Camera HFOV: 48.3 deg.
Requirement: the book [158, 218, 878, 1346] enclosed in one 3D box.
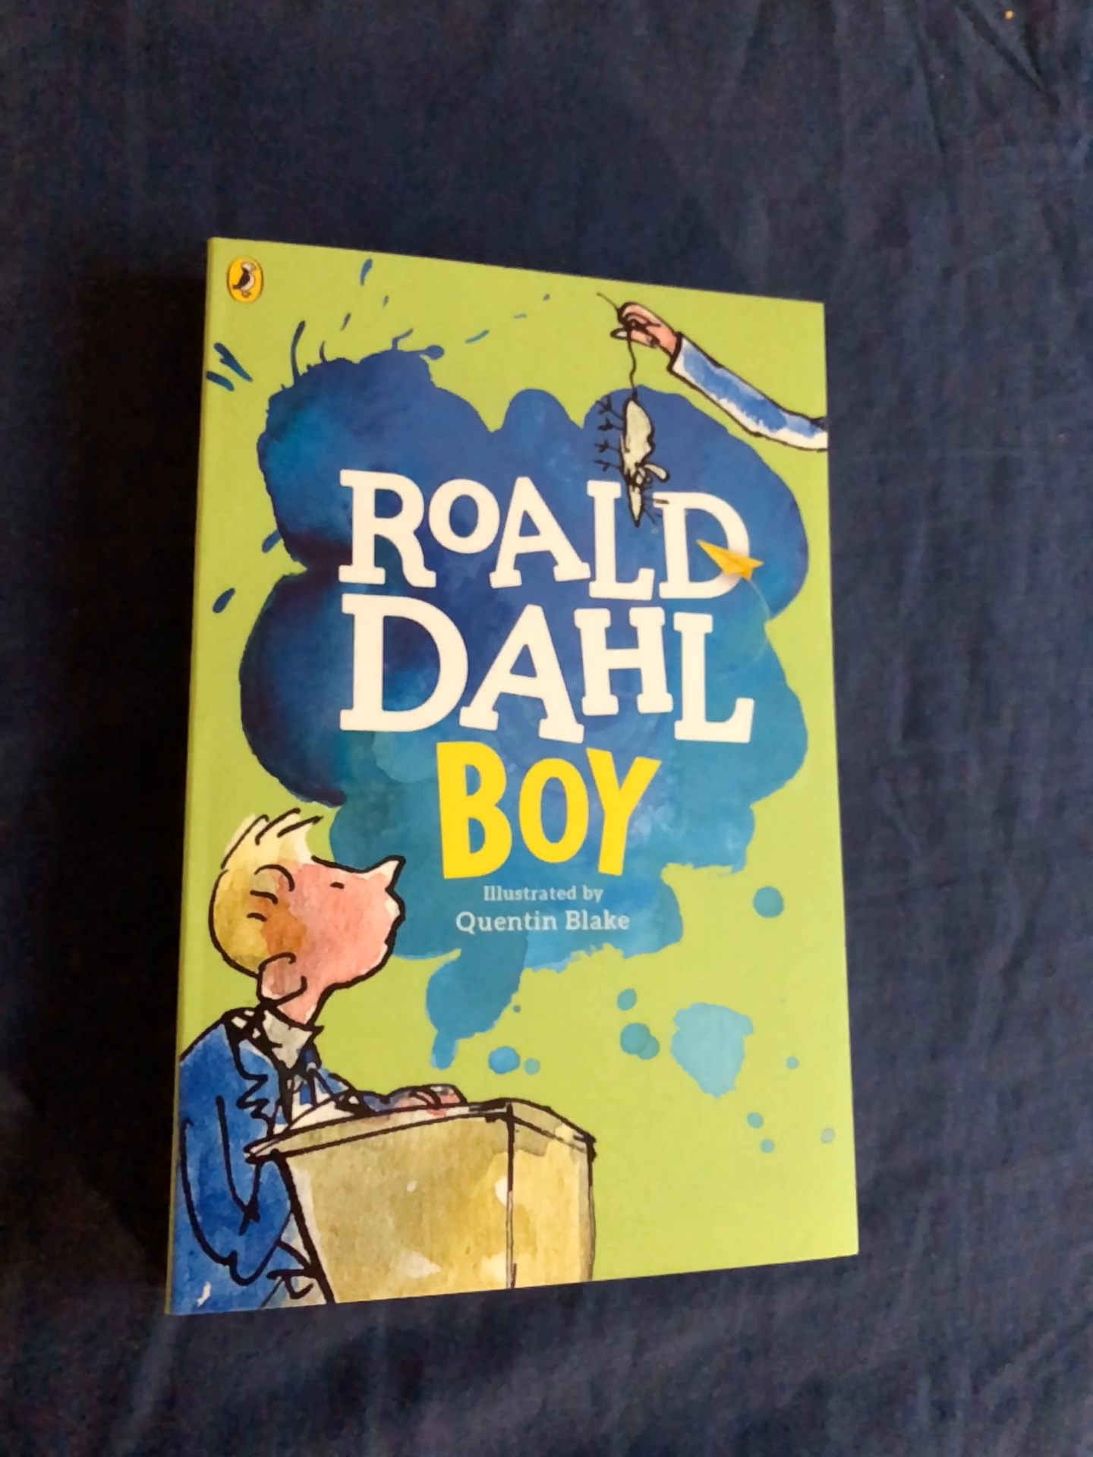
[{"bbox_3d":[-0.003,0.007,0.232,0.125,0.027,0.189,2,82,-15],"label":"book"}]
